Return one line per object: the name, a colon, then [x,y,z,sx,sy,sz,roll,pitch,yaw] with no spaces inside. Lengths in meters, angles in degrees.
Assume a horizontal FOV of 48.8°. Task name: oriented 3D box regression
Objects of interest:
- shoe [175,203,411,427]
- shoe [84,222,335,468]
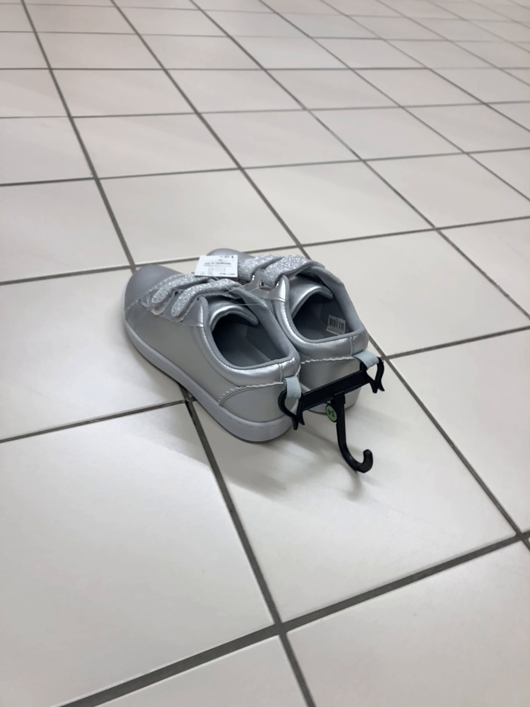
shoe: [0.015,-0.046,0.554,0.091,0.085,0.215,-27,53,-33]
shoe: [-0.057,-0.018,0.513,0.091,0.085,0.215,-29,55,-35]
